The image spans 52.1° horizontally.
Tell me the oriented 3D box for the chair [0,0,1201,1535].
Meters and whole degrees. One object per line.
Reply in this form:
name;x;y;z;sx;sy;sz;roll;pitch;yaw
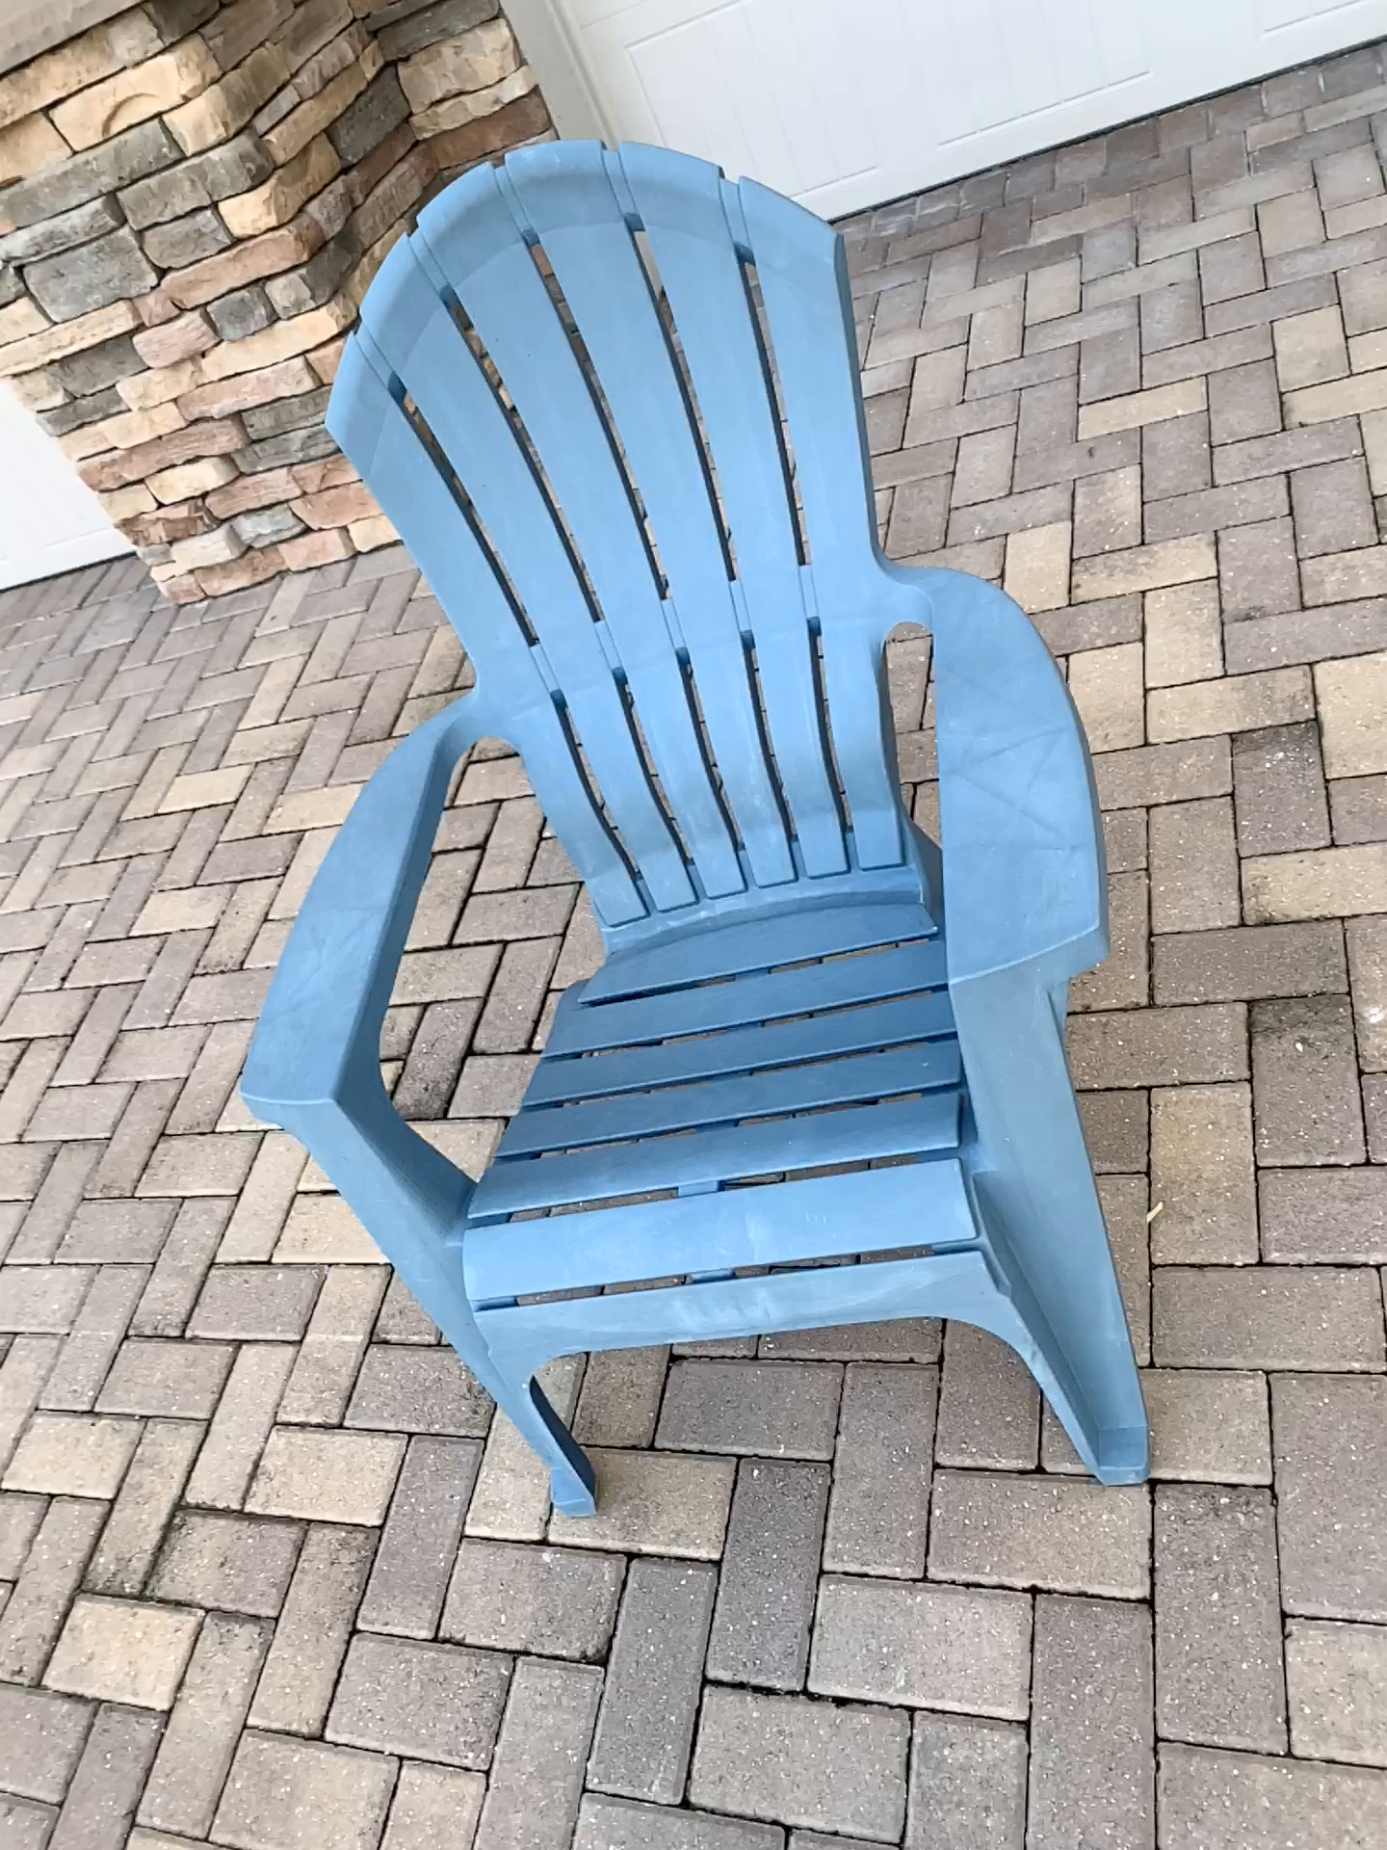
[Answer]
chair;-0.036;-0.072;1.266;0.681;0.985;0.801;-12;42;21
